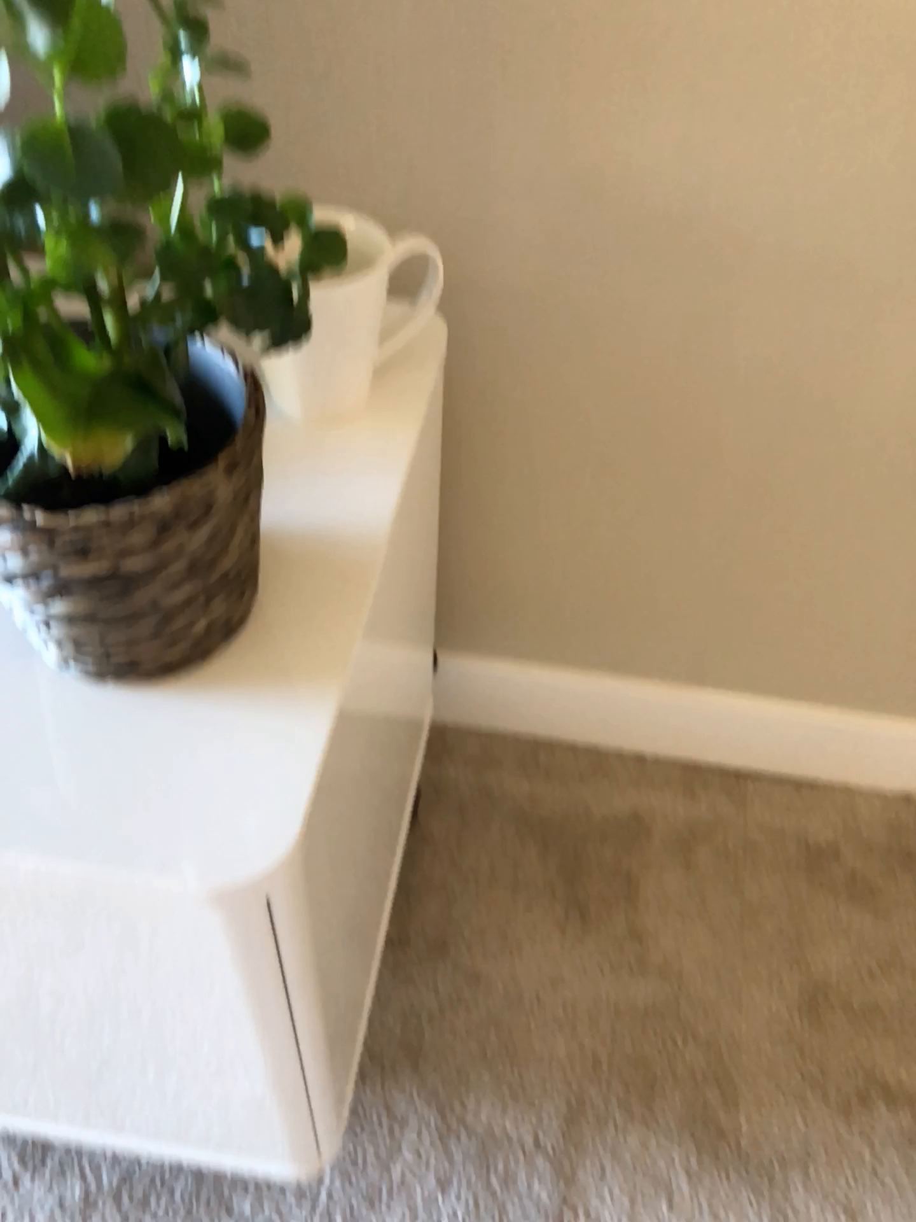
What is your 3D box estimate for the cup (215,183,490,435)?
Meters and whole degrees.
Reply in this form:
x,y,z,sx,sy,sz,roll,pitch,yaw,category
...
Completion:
x,y,z,sx,sy,sz,roll,pitch,yaw,category
-0.062,-0.184,0.611,0.130,0.090,0.090,-20,51,-21,cup
